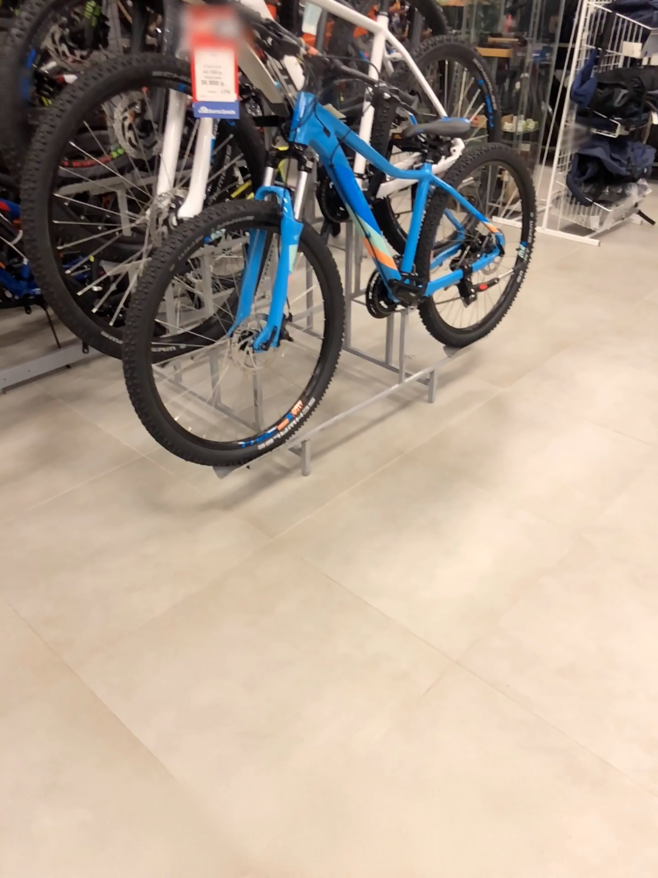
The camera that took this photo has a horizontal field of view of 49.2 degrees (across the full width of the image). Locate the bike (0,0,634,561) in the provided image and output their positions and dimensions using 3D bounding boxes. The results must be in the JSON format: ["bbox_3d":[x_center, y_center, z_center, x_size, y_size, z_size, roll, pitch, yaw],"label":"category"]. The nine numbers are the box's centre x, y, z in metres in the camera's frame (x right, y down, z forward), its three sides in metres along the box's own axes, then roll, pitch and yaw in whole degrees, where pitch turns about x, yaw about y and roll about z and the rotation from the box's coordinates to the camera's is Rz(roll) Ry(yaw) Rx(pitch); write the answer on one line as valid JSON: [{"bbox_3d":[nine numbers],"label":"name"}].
[{"bbox_3d":[0.068,-0.616,2.087,0.632,1.082,1.707,27,41,35],"label":"bike"}]
